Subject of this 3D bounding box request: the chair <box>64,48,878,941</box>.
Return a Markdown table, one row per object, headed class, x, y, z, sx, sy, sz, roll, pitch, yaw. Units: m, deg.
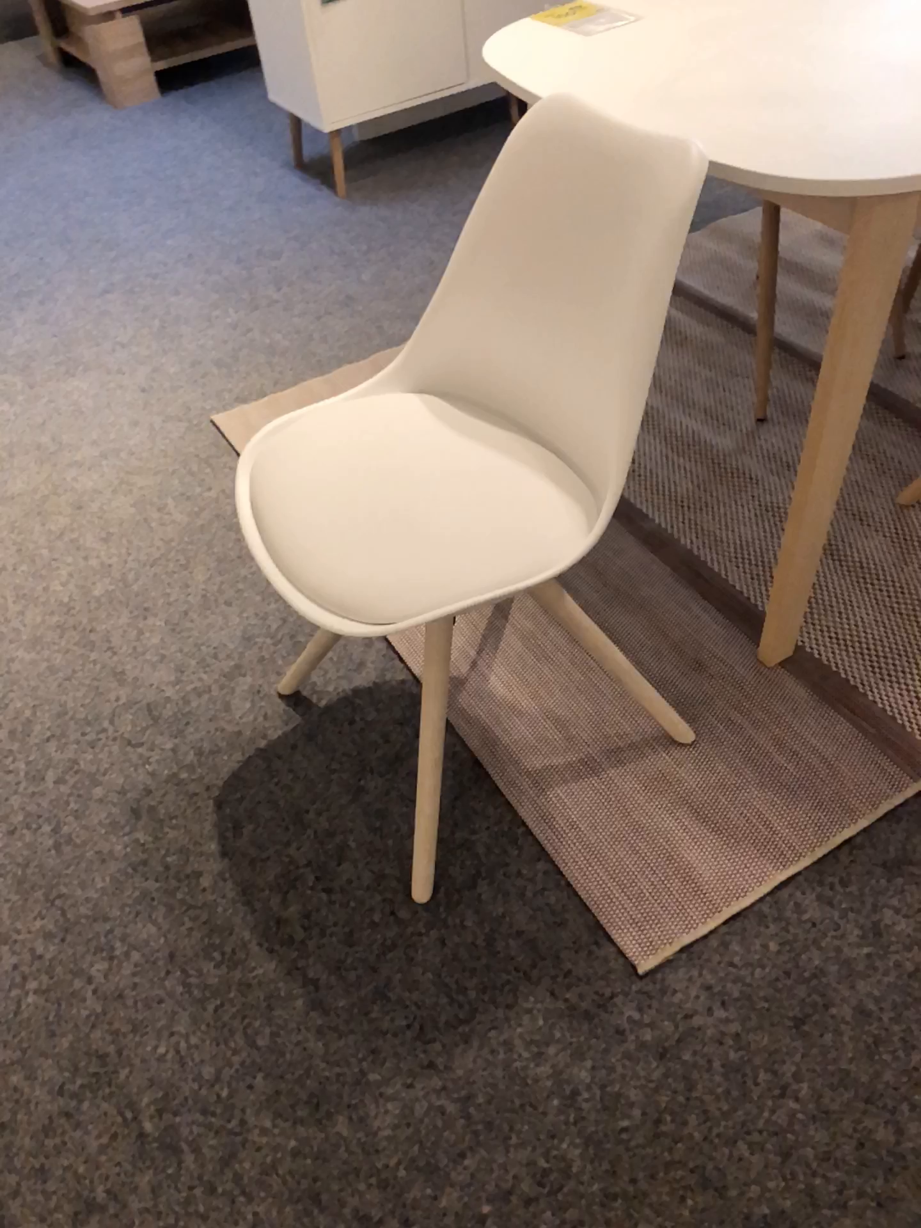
| class | x | y | z | sx | sy | sz | roll | pitch | yaw |
| --- | --- | --- | --- | --- | --- | --- | --- | --- | --- |
| chair | 0.011 | -0.151 | 1.239 | 0.592 | 0.756 | 0.552 | -26 | 47 | -18 |
